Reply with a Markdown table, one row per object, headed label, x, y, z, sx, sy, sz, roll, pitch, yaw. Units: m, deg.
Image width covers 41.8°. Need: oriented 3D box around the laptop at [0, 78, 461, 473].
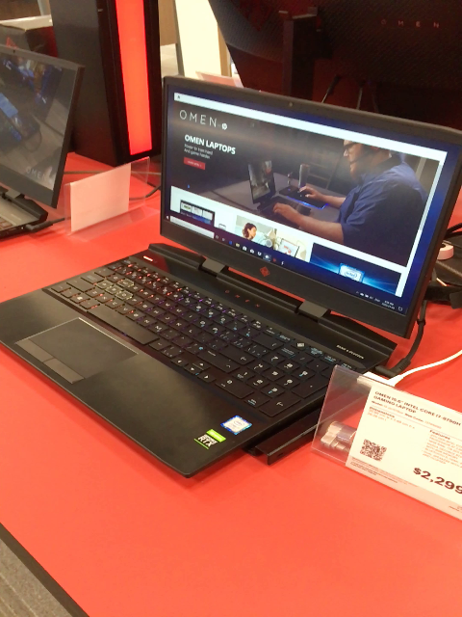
| label | x | y | z | sx | sy | sz | roll | pitch | yaw |
| --- | --- | --- | --- | --- | --- | --- | --- | --- | --- |
| laptop | -0.053 | -0.066 | 0.589 | 0.306 | 0.219 | 0.364 | -31 | 45 | -32 |
